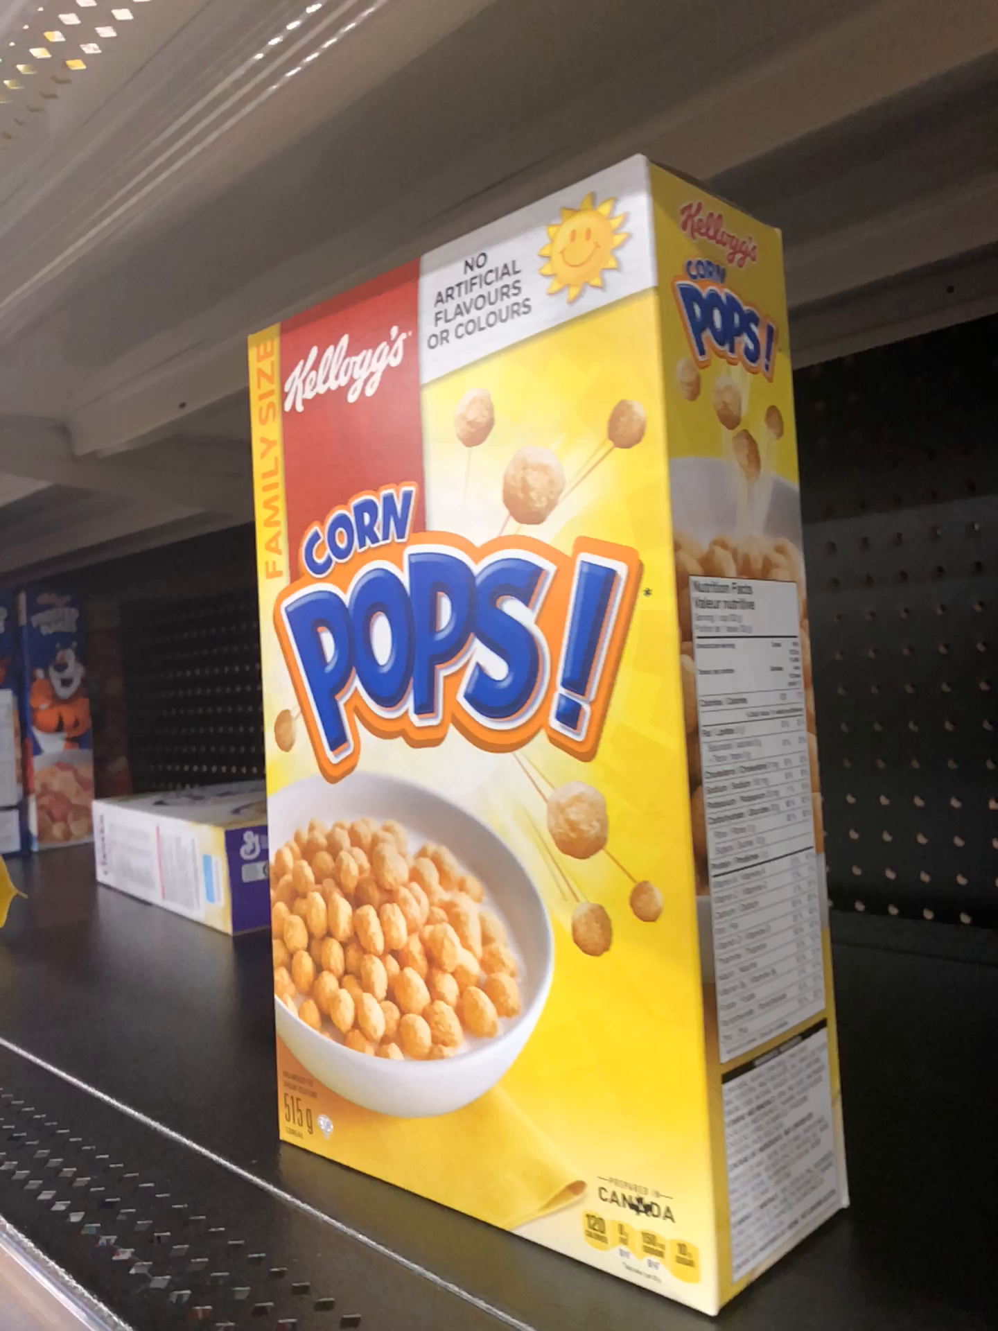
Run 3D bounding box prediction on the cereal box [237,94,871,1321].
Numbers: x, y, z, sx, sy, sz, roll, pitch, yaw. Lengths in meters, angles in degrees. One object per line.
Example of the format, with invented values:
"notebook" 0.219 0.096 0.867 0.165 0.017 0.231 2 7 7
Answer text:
"cereal box" 0.007 0.011 0.388 0.200 0.320 0.090 -5 -4 43
